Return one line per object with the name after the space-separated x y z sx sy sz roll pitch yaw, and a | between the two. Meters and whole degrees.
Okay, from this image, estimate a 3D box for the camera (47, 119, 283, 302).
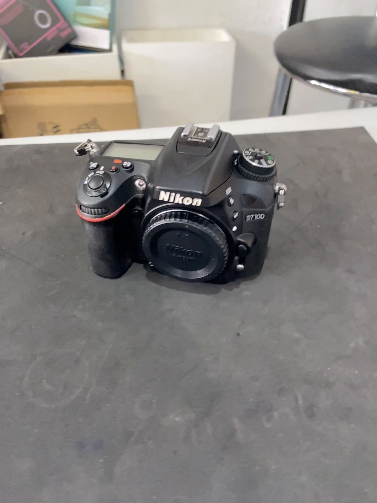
-0.009 -0.032 0.288 0.140 0.092 0.078 7 44 8 | camera
